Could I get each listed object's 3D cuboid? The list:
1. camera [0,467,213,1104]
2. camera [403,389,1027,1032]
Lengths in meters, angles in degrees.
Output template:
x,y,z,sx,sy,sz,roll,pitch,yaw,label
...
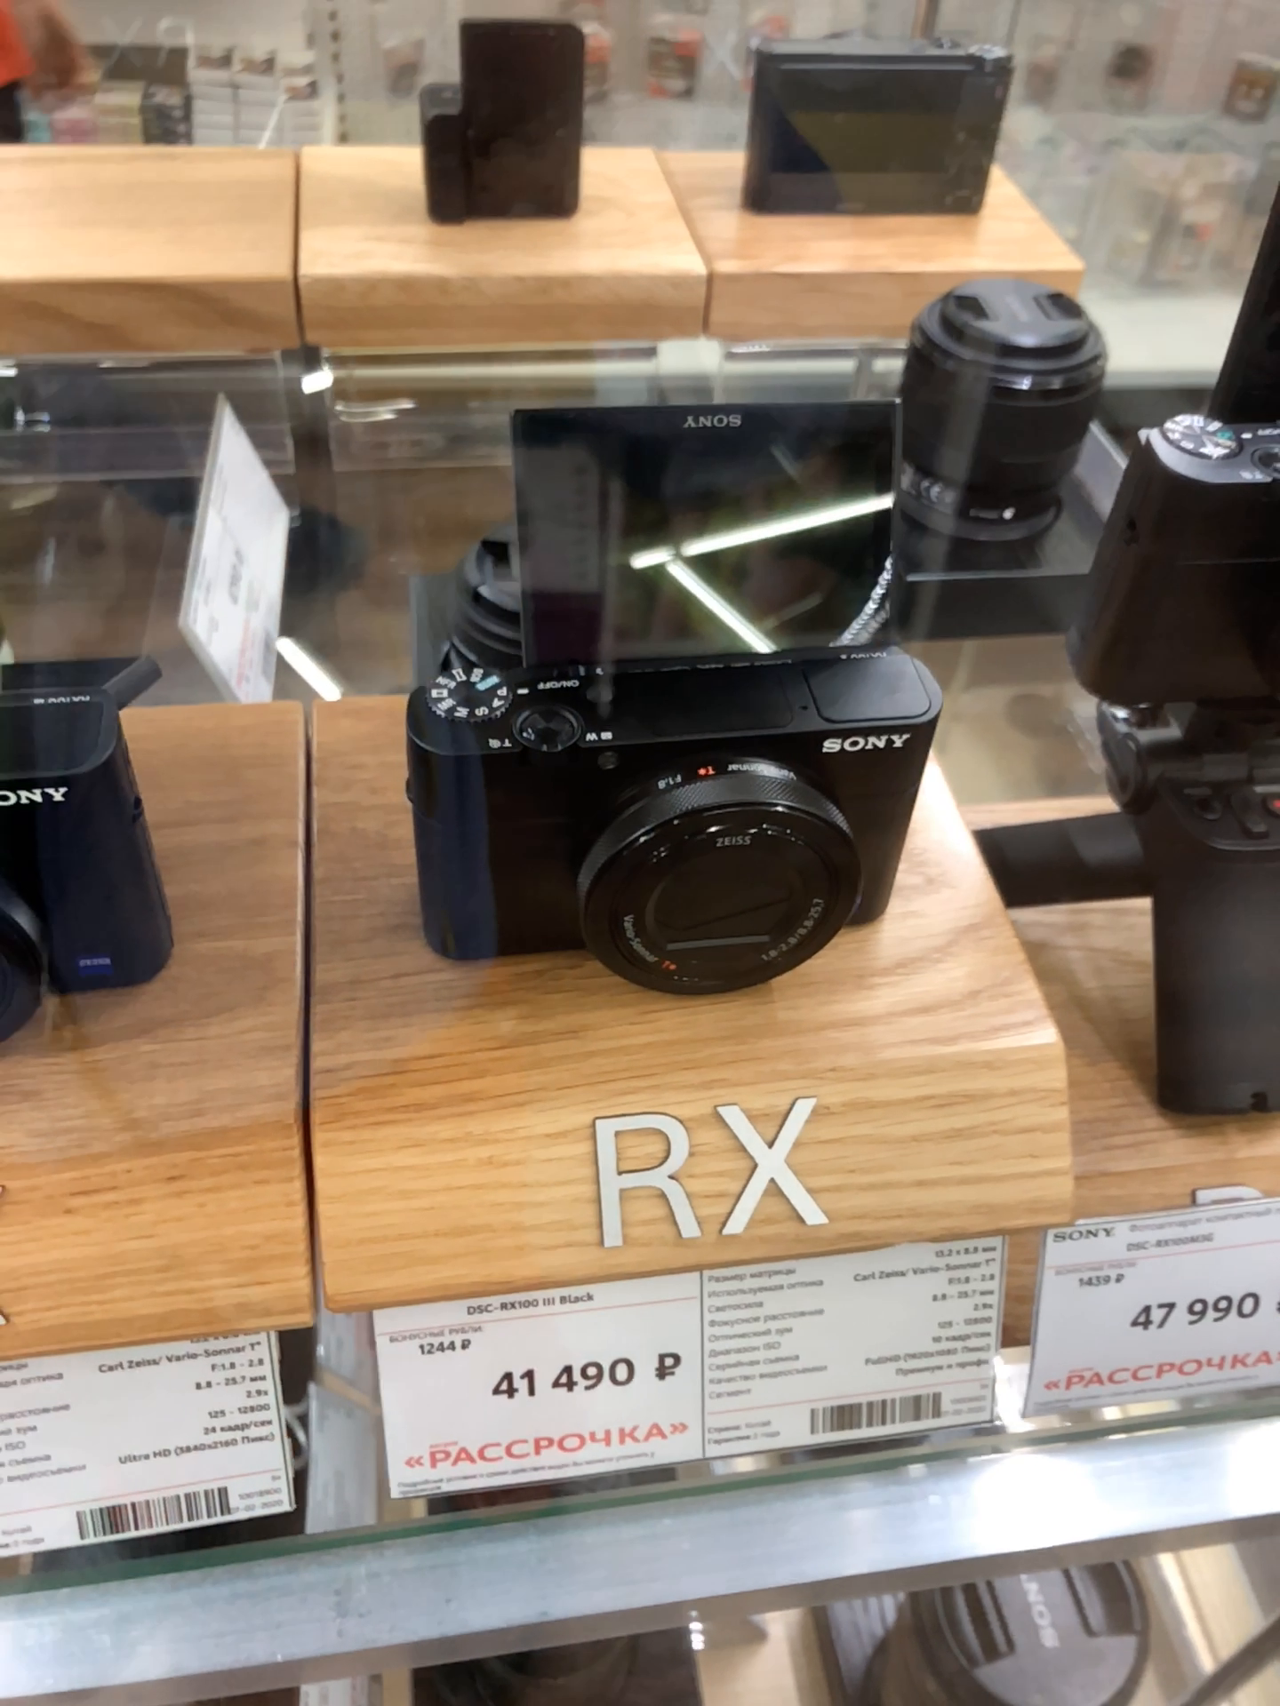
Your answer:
x,y,z,sx,sy,sz,roll,pitch,yaw,label
-0.141,-0.017,0.270,0.101,0.067,0.097,-4,46,-9,camera
0.007,-0.025,0.287,0.100,0.119,0.050,-4,46,-9,camera
